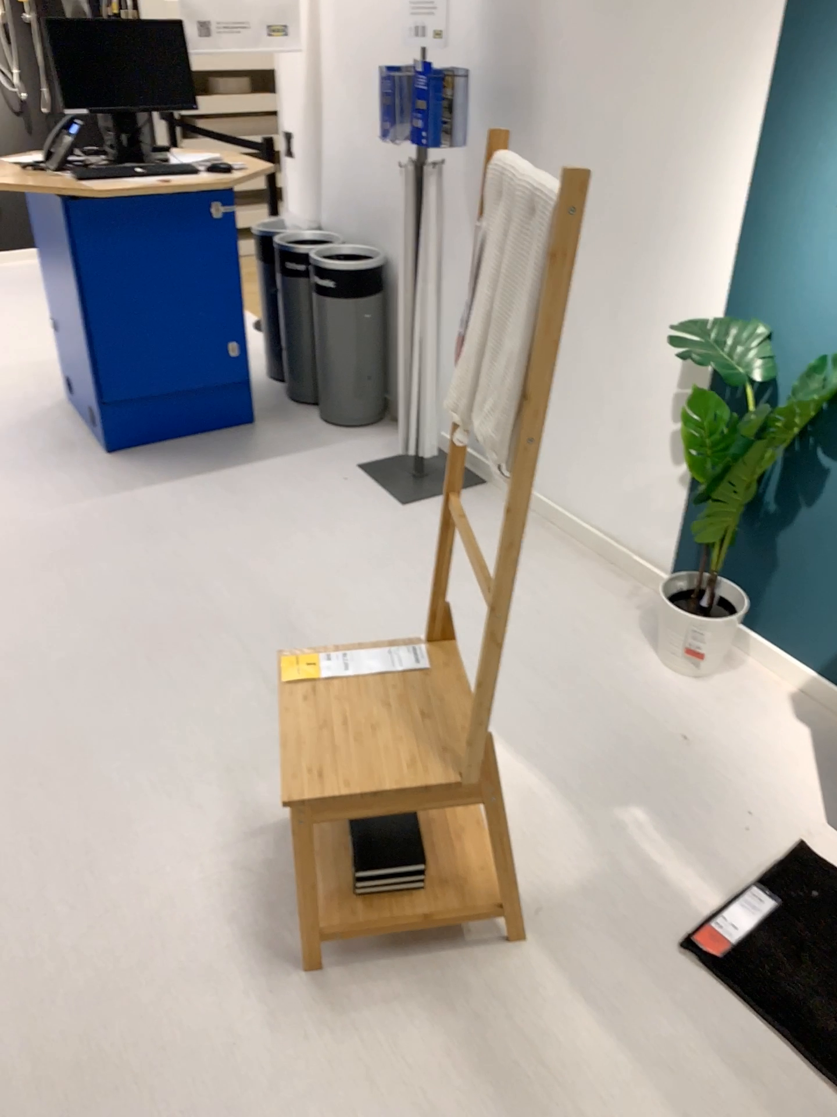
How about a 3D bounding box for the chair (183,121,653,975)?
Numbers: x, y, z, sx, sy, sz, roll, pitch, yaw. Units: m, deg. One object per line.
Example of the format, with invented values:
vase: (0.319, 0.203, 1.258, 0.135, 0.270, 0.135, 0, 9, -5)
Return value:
chair: (-0.030, 0.041, 1.385, 0.470, 1.294, 0.462, -3, 32, -7)
